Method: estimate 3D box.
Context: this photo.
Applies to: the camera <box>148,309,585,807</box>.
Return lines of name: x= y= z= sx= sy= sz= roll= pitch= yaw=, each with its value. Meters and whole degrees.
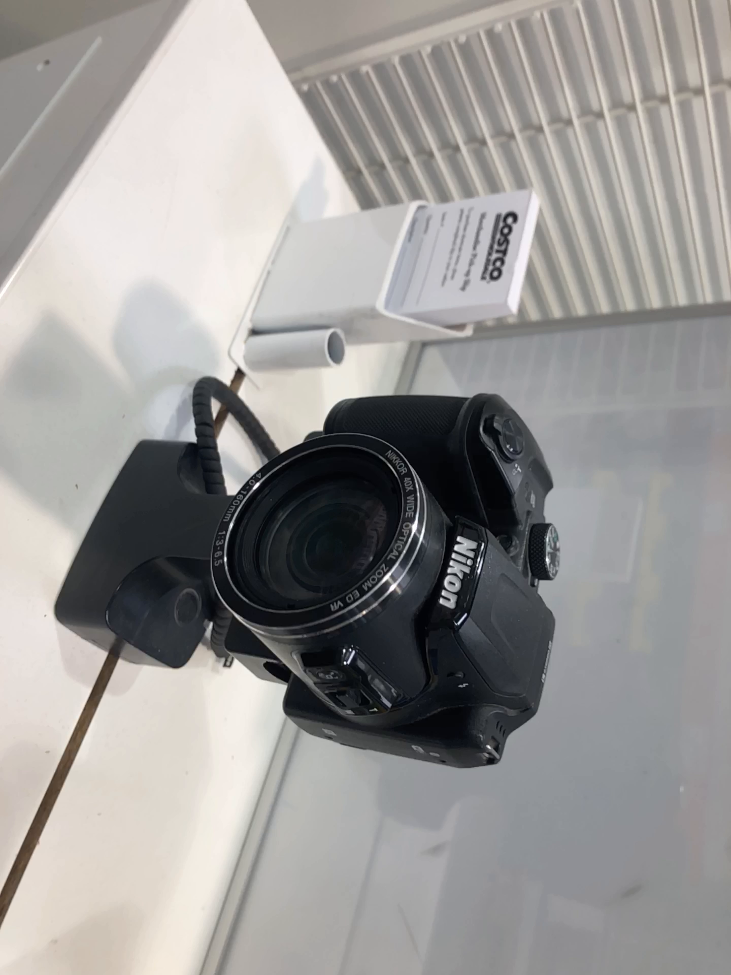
camera: x=0.012 y=0.025 z=0.264 sx=0.101 sy=0.079 sz=0.116 roll=51 pitch=48 yaw=-48
